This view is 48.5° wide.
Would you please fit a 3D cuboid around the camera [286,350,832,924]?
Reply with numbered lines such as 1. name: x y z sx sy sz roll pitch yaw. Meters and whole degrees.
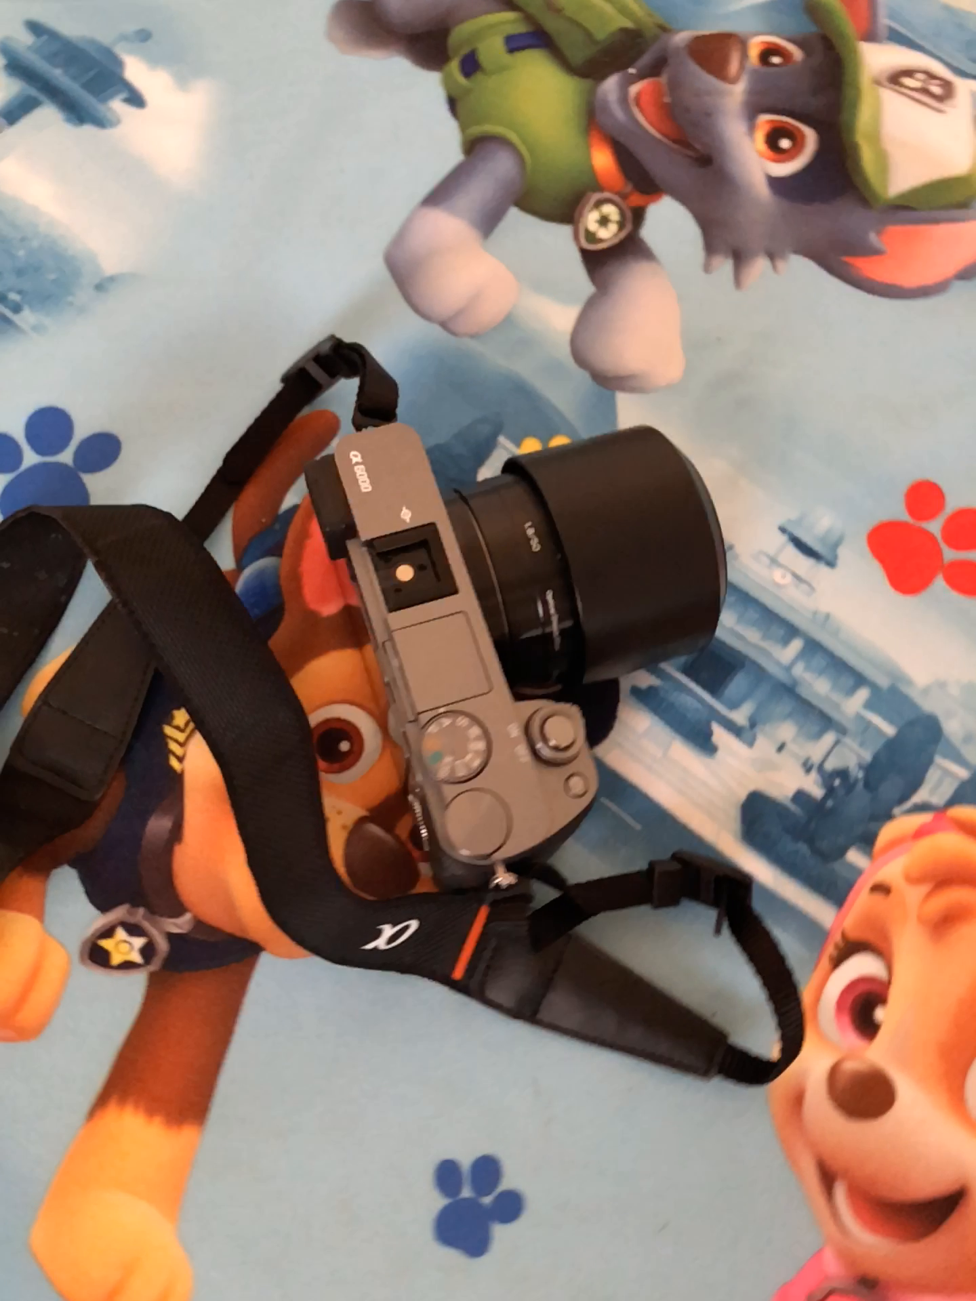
1. camera: 0.014 -0.001 0.328 0.110 0.080 0.130 -16 74 -10
